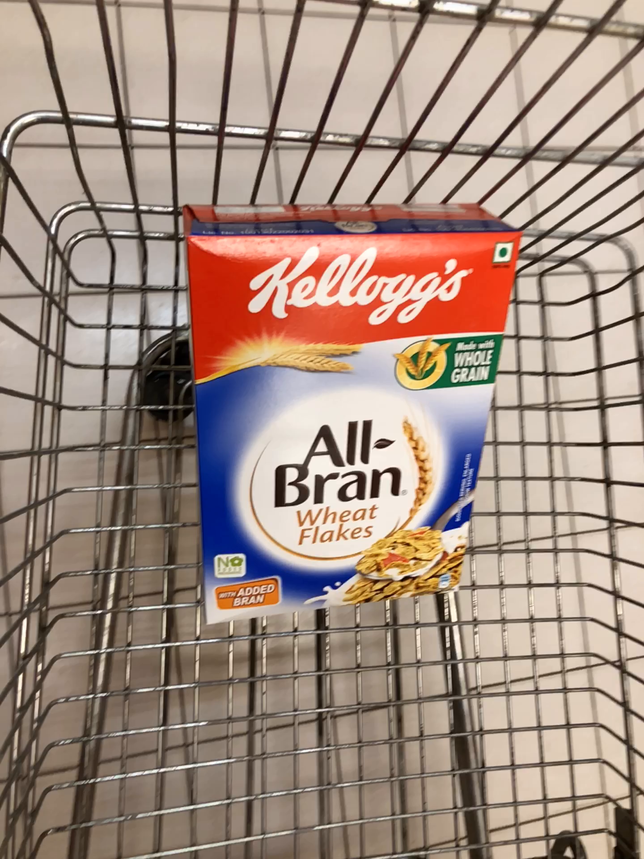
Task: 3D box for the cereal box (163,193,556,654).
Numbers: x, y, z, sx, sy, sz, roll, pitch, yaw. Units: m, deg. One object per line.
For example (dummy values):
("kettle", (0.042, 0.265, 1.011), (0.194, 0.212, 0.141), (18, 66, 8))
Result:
("cereal box", (0.008, 0.003, 0.440), (0.190, 0.080, 0.269), (-4, 123, -13))
